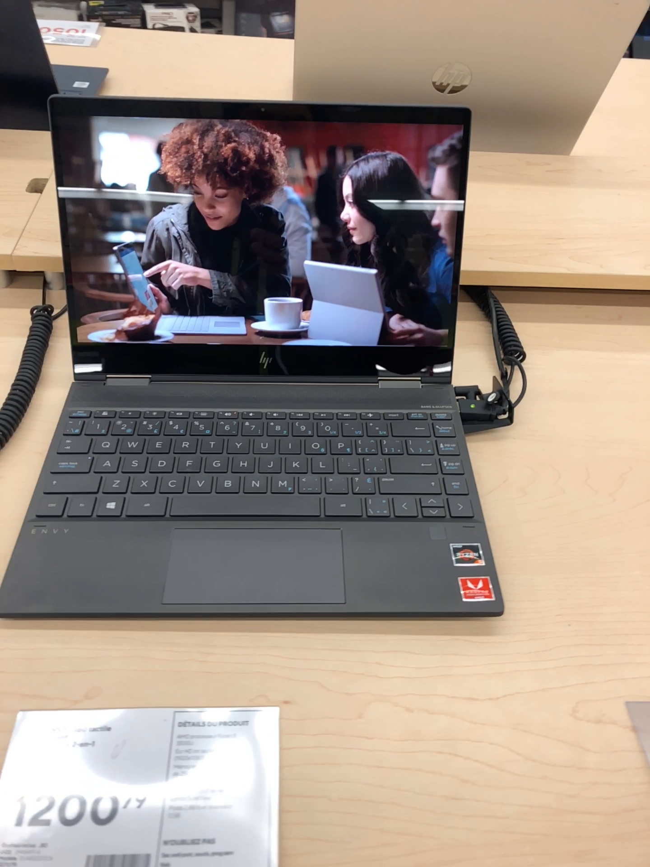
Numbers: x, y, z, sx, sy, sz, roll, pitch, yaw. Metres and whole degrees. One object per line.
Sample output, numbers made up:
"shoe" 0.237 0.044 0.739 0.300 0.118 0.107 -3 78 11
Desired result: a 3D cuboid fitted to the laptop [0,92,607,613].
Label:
"laptop" -0.040 -0.062 0.460 0.294 0.182 0.289 0 45 -5
